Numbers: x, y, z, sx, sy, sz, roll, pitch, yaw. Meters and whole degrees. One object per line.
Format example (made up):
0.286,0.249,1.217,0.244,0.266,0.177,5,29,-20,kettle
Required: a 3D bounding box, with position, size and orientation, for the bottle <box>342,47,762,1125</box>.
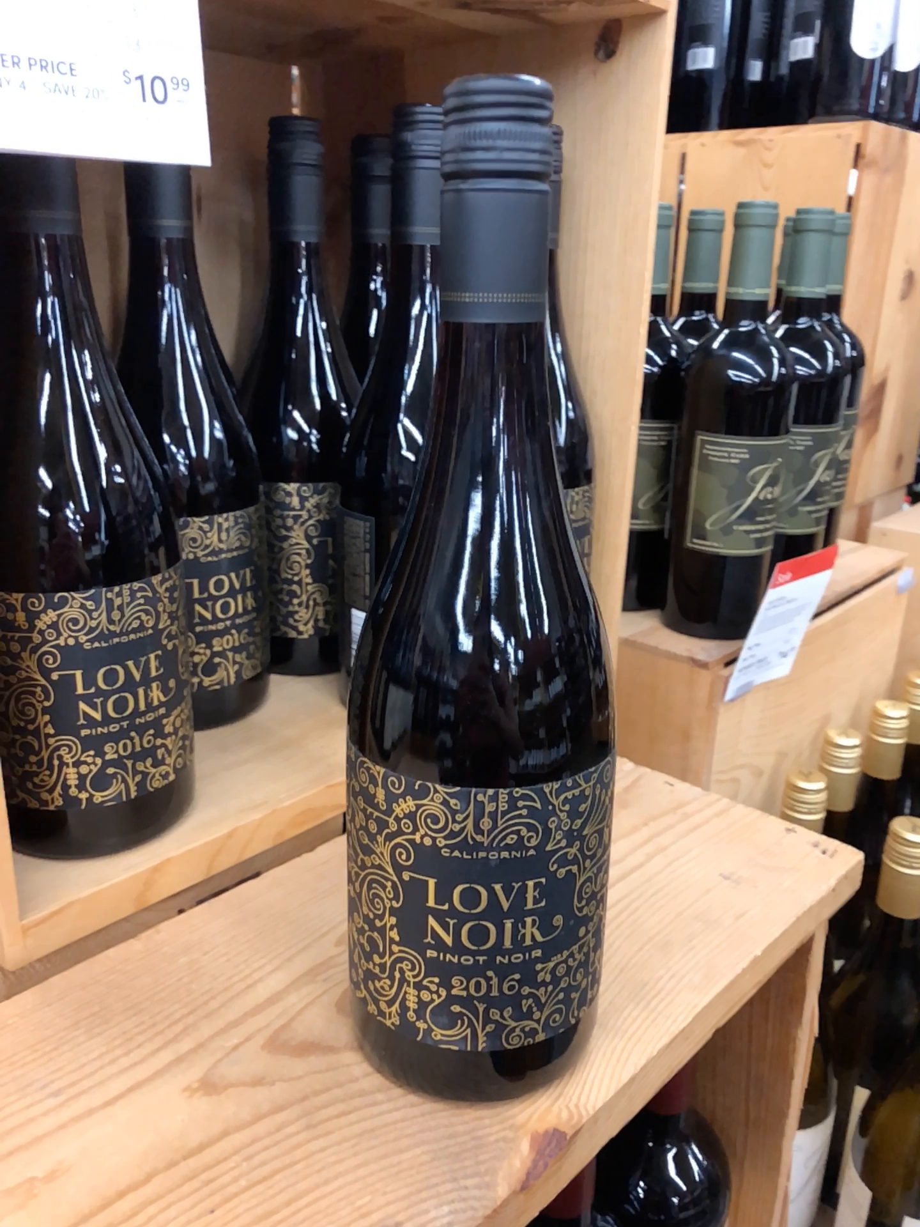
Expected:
0.013,0.002,0.303,0.090,0.285,0.086,1,19,0,bottle
